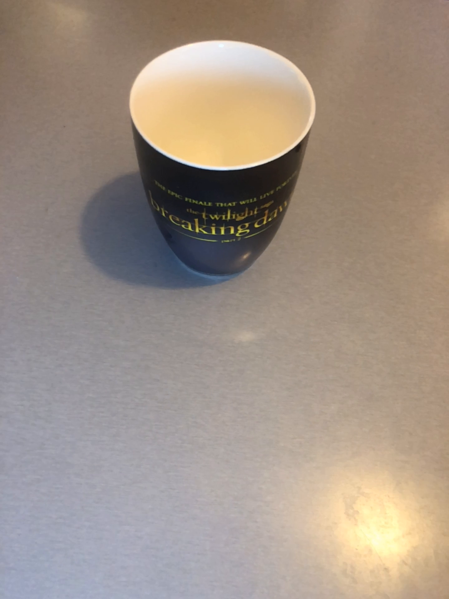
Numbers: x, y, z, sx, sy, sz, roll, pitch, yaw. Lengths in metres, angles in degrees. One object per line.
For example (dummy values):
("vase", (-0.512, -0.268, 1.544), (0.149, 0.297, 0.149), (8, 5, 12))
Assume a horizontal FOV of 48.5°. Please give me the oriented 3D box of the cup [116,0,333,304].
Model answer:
("cup", (-0.007, -0.082, 0.282), (0.090, 0.100, 0.130), (-5, 62, -4))
